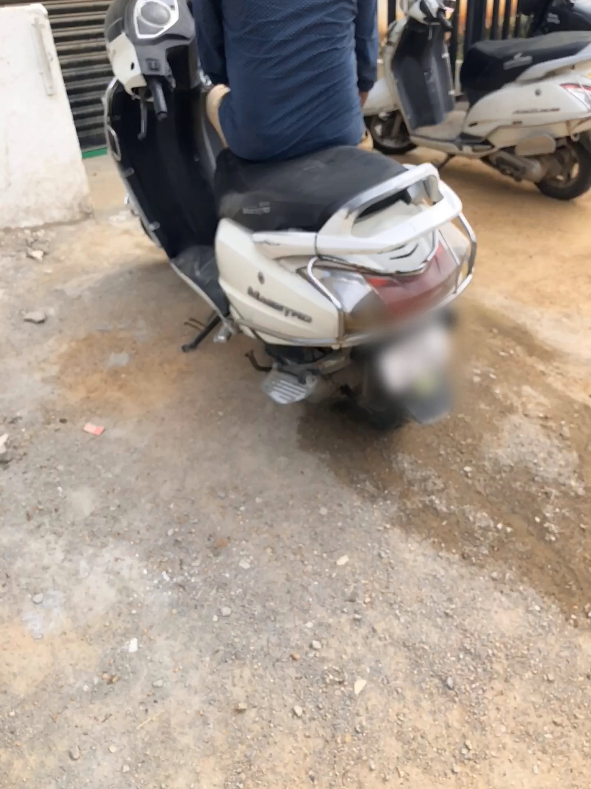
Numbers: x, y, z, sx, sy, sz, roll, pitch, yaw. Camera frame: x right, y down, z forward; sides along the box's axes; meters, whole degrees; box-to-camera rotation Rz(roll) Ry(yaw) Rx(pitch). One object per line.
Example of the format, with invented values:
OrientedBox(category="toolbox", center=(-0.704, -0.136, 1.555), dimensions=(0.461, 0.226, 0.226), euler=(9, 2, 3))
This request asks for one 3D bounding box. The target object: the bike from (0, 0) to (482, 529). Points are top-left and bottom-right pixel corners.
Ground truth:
OrientedBox(category="bike", center=(-0.326, -0.679, 1.969), dimensions=(0.602, 1.231, 1.557), euler=(-24, 42, -29))
